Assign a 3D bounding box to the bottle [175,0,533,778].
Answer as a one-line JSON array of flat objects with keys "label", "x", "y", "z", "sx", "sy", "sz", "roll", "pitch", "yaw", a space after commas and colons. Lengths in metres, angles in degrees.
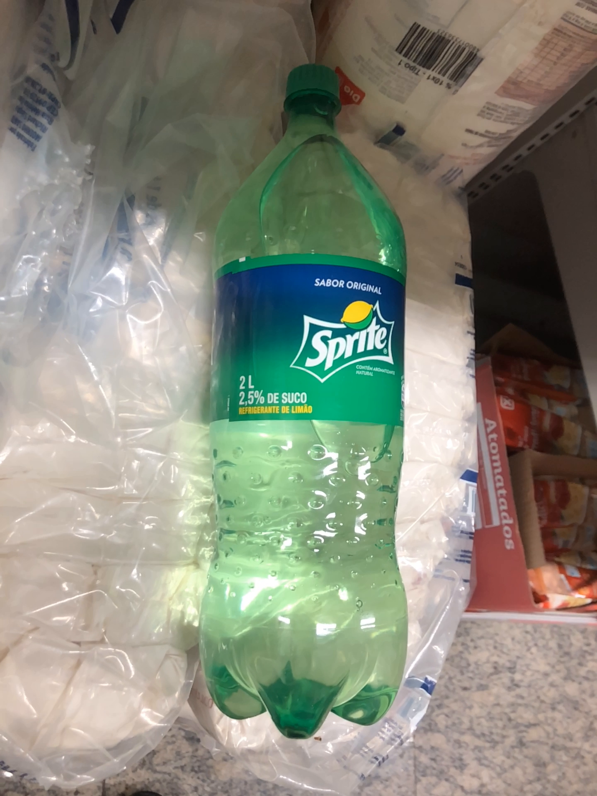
[{"label": "bottle", "x": 0.010, "y": -0.039, "z": 0.342, "sx": 0.110, "sy": 0.109, "sz": 0.380, "roll": 4, "pitch": 73, "yaw": -29}]
